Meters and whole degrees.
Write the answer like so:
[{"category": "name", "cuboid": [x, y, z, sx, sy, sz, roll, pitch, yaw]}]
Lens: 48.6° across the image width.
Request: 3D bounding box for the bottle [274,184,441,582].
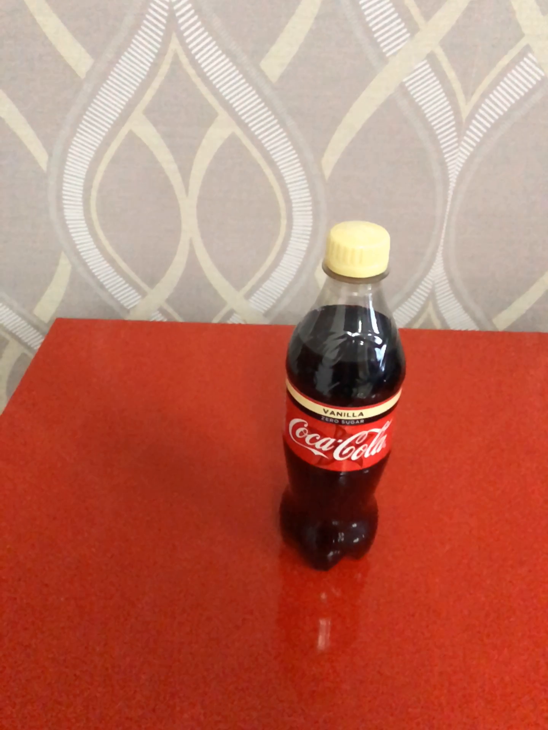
[{"category": "bottle", "cuboid": [0.039, 0.023, 0.366, 0.070, 0.238, 0.081, 3, 37, 3]}]
